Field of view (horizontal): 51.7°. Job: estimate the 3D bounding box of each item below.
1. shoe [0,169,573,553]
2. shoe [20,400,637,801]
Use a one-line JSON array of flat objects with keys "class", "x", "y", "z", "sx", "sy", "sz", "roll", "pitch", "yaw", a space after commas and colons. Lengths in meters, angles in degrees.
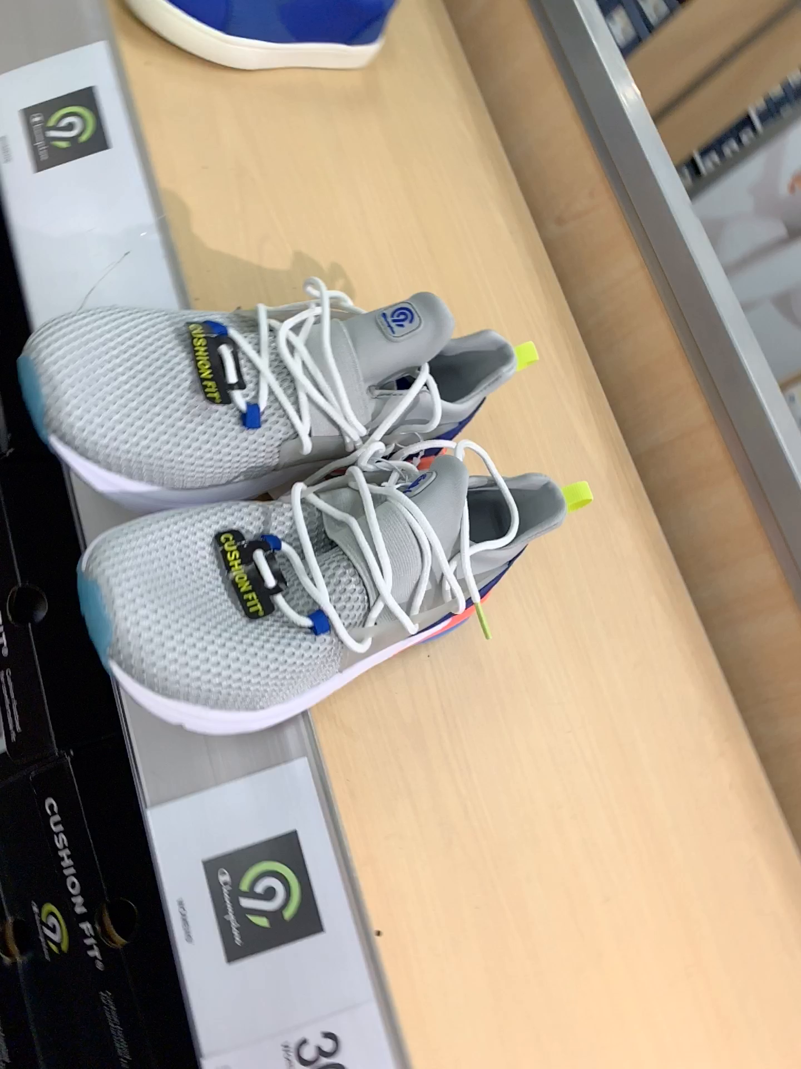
[{"class": "shoe", "x": -0.042, "y": -0.067, "z": 0.407, "sx": 0.272, "sy": 0.089, "sz": 0.110, "roll": -4, "pitch": 70, "yaw": -47}, {"class": "shoe", "x": -0.010, "y": 0.011, "z": 0.386, "sx": 0.272, "sy": 0.089, "sz": 0.110, "roll": -12, "pitch": 76, "yaw": -49}]
